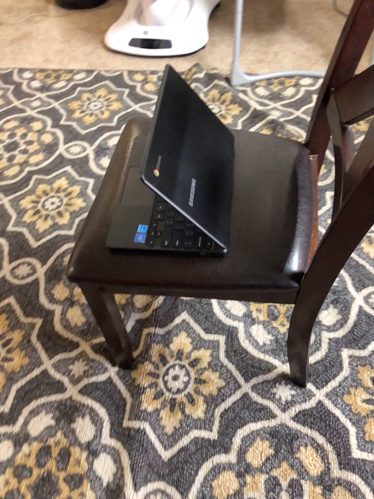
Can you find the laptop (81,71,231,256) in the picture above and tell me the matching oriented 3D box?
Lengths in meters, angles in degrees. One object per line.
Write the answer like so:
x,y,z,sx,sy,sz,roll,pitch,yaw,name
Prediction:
-0.030,-0.146,0.676,0.191,0.155,0.263,2,55,6,laptop
